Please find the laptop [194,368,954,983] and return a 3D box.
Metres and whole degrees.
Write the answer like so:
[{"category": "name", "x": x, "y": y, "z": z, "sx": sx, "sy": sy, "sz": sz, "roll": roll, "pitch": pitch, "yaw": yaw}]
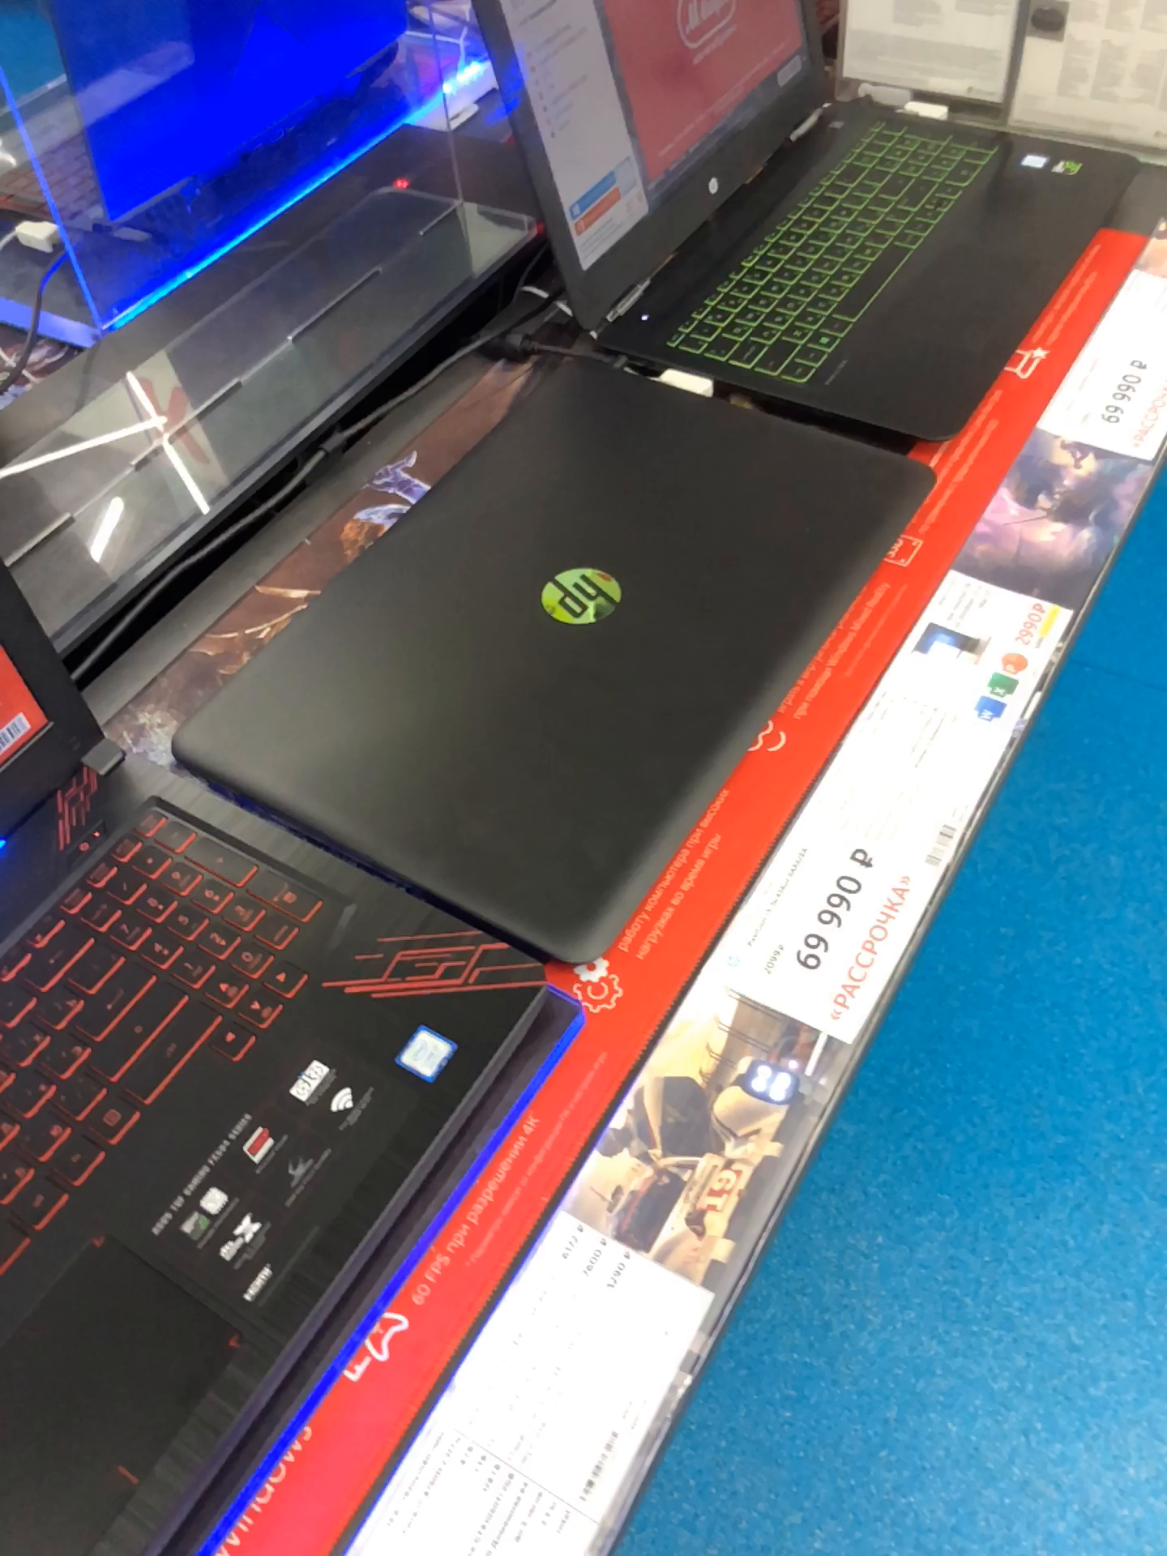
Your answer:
[{"category": "laptop", "x": 0.012, "y": -0.085, "z": 0.668, "sx": 0.233, "sy": 0.012, "sz": 0.366, "roll": 25, "pitch": 56, "yaw": 21}]
